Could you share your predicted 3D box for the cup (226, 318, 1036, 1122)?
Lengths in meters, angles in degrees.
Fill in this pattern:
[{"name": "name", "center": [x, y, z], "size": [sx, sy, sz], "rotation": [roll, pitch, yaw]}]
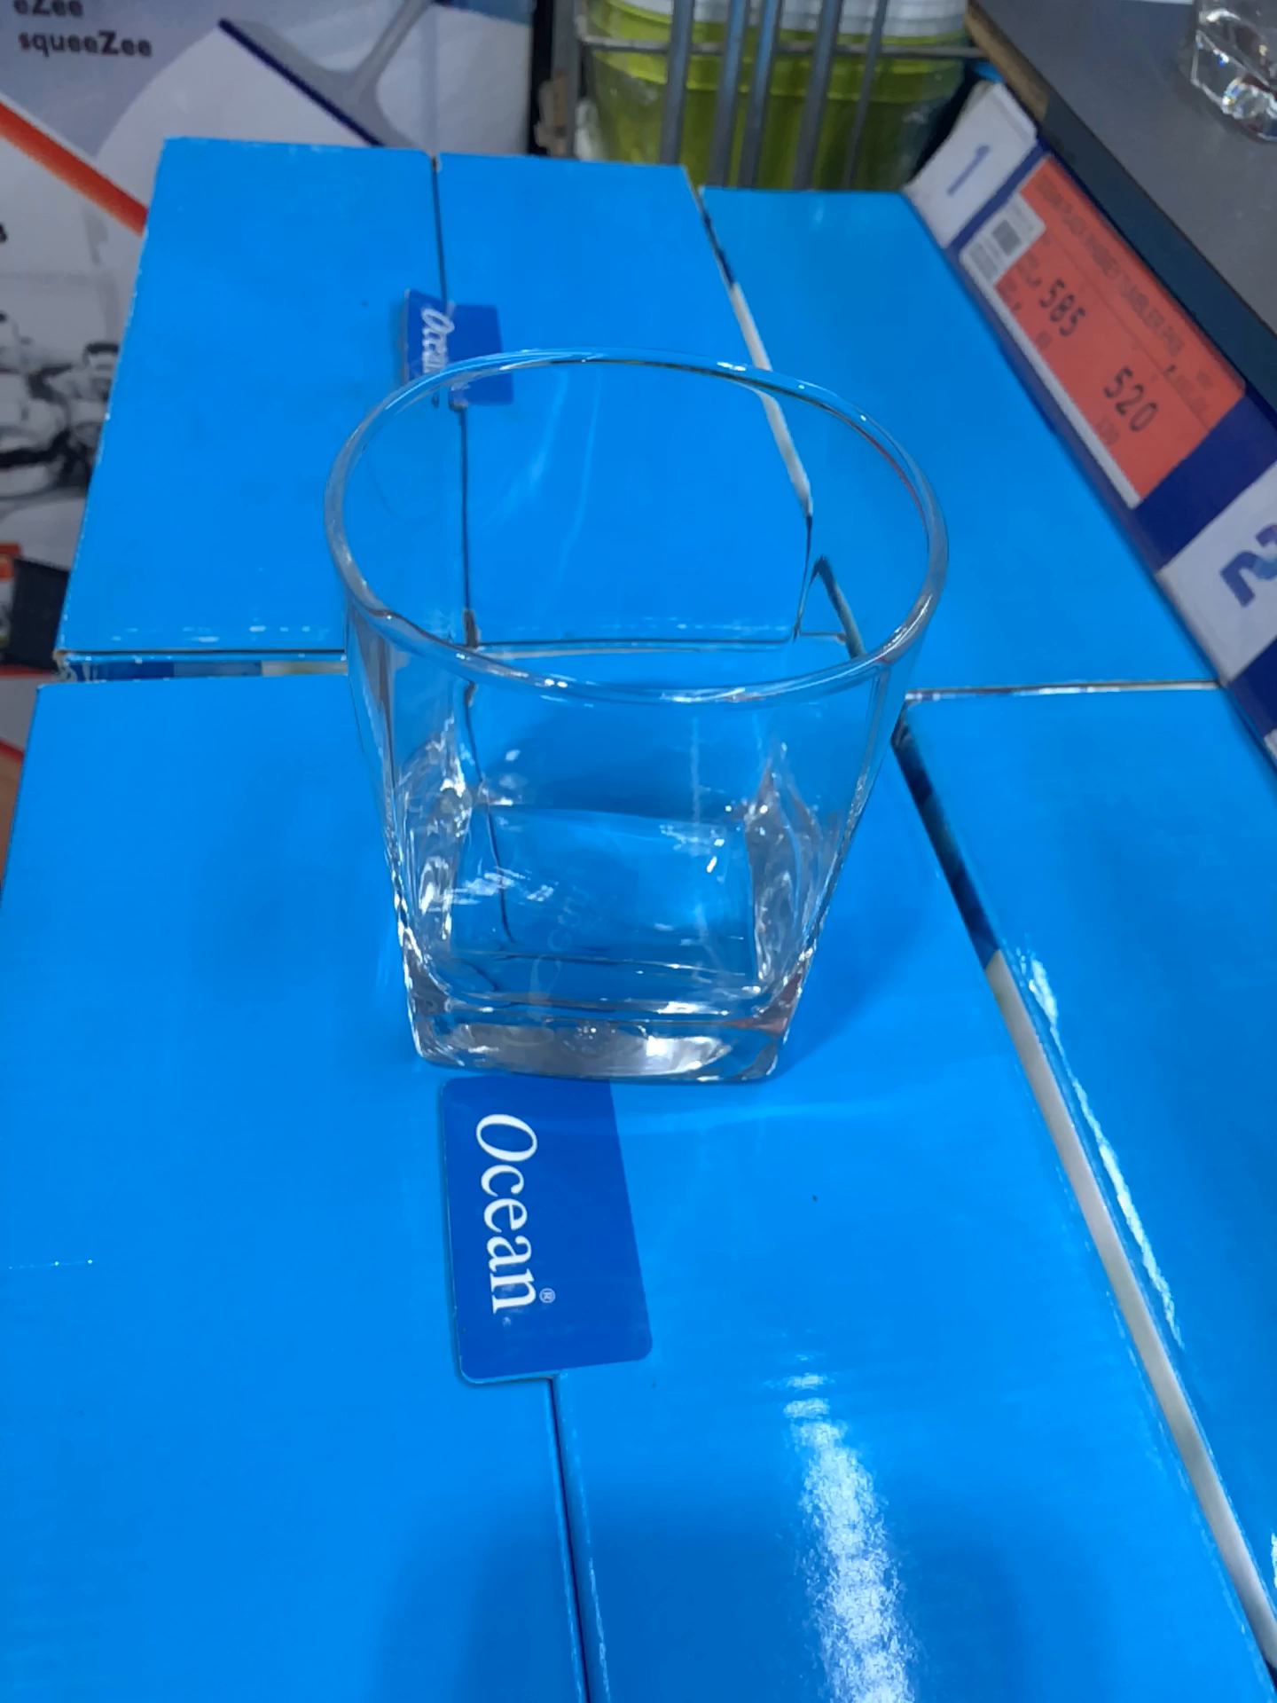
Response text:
[{"name": "cup", "center": [-0.005, -0.020, 0.219], "size": [0.090, 0.080, 0.090], "rotation": [3, 45, -3]}]
